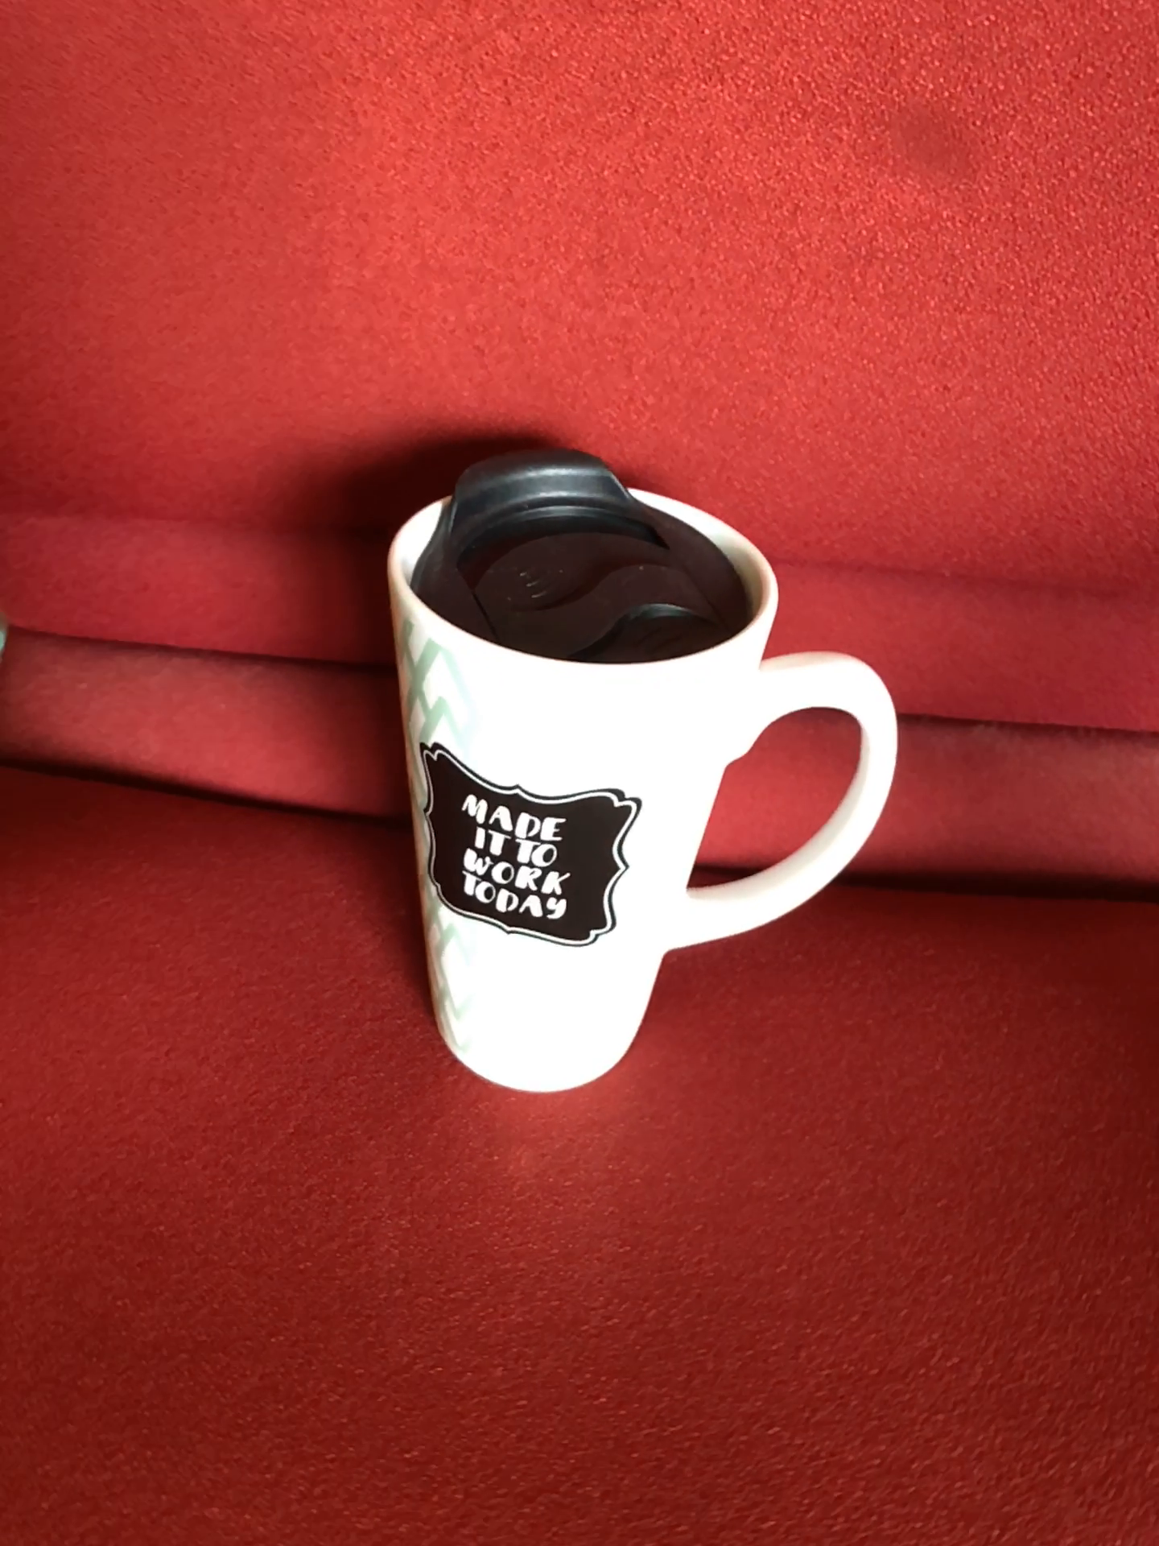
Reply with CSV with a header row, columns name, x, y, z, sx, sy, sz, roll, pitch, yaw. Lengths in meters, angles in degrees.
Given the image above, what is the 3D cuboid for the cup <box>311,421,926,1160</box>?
name,x,y,z,sx,sy,sz,roll,pitch,yaw
cup,0.013,0.008,0.332,0.120,0.160,0.080,9,40,10
